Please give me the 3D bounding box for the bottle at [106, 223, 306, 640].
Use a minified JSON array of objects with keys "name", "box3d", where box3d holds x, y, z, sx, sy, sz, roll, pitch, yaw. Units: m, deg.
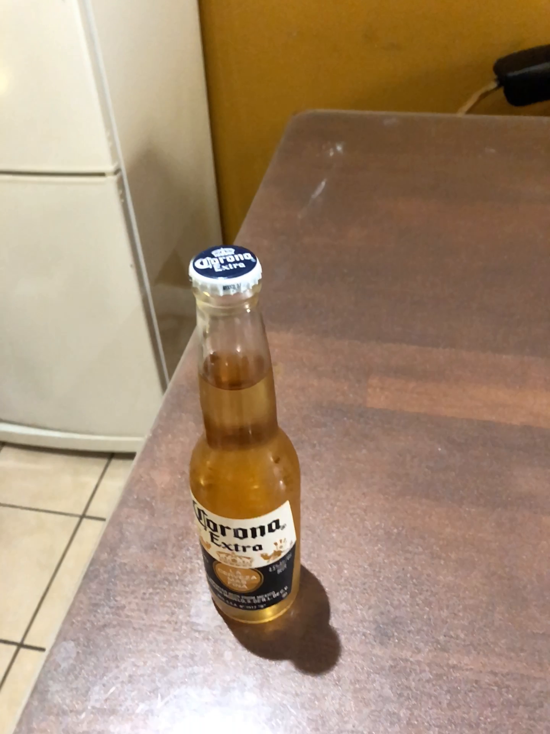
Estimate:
[{"name":"bottle","box3d":[-0.020,0.051,0.313,0.060,0.238,0.060,-1,42,1]}]
